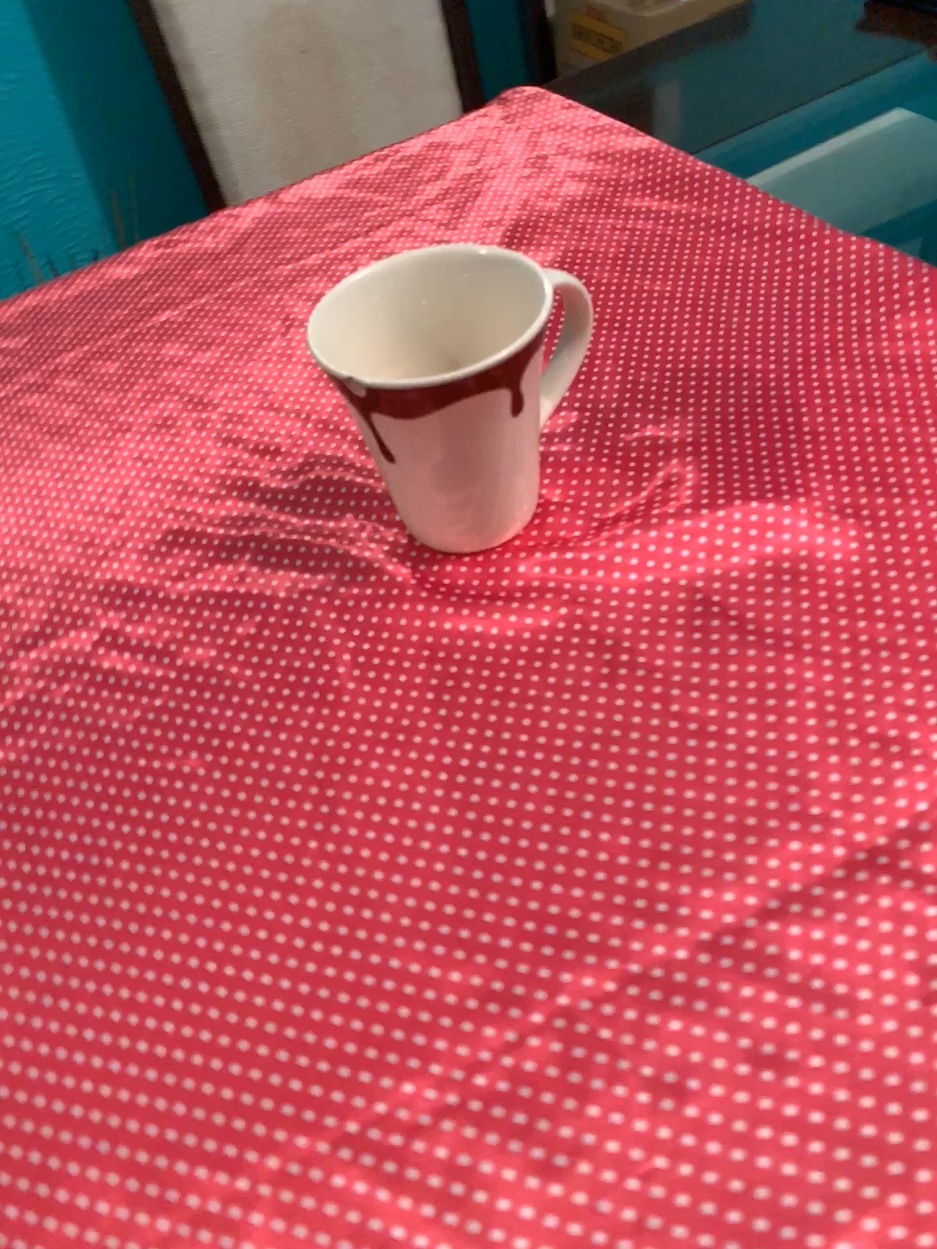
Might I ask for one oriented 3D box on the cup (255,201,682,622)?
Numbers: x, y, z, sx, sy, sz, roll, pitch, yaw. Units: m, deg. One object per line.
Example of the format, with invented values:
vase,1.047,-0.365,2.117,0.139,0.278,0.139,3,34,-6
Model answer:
cup,0.006,-0.092,0.395,0.130,0.090,0.100,-38,52,-21
